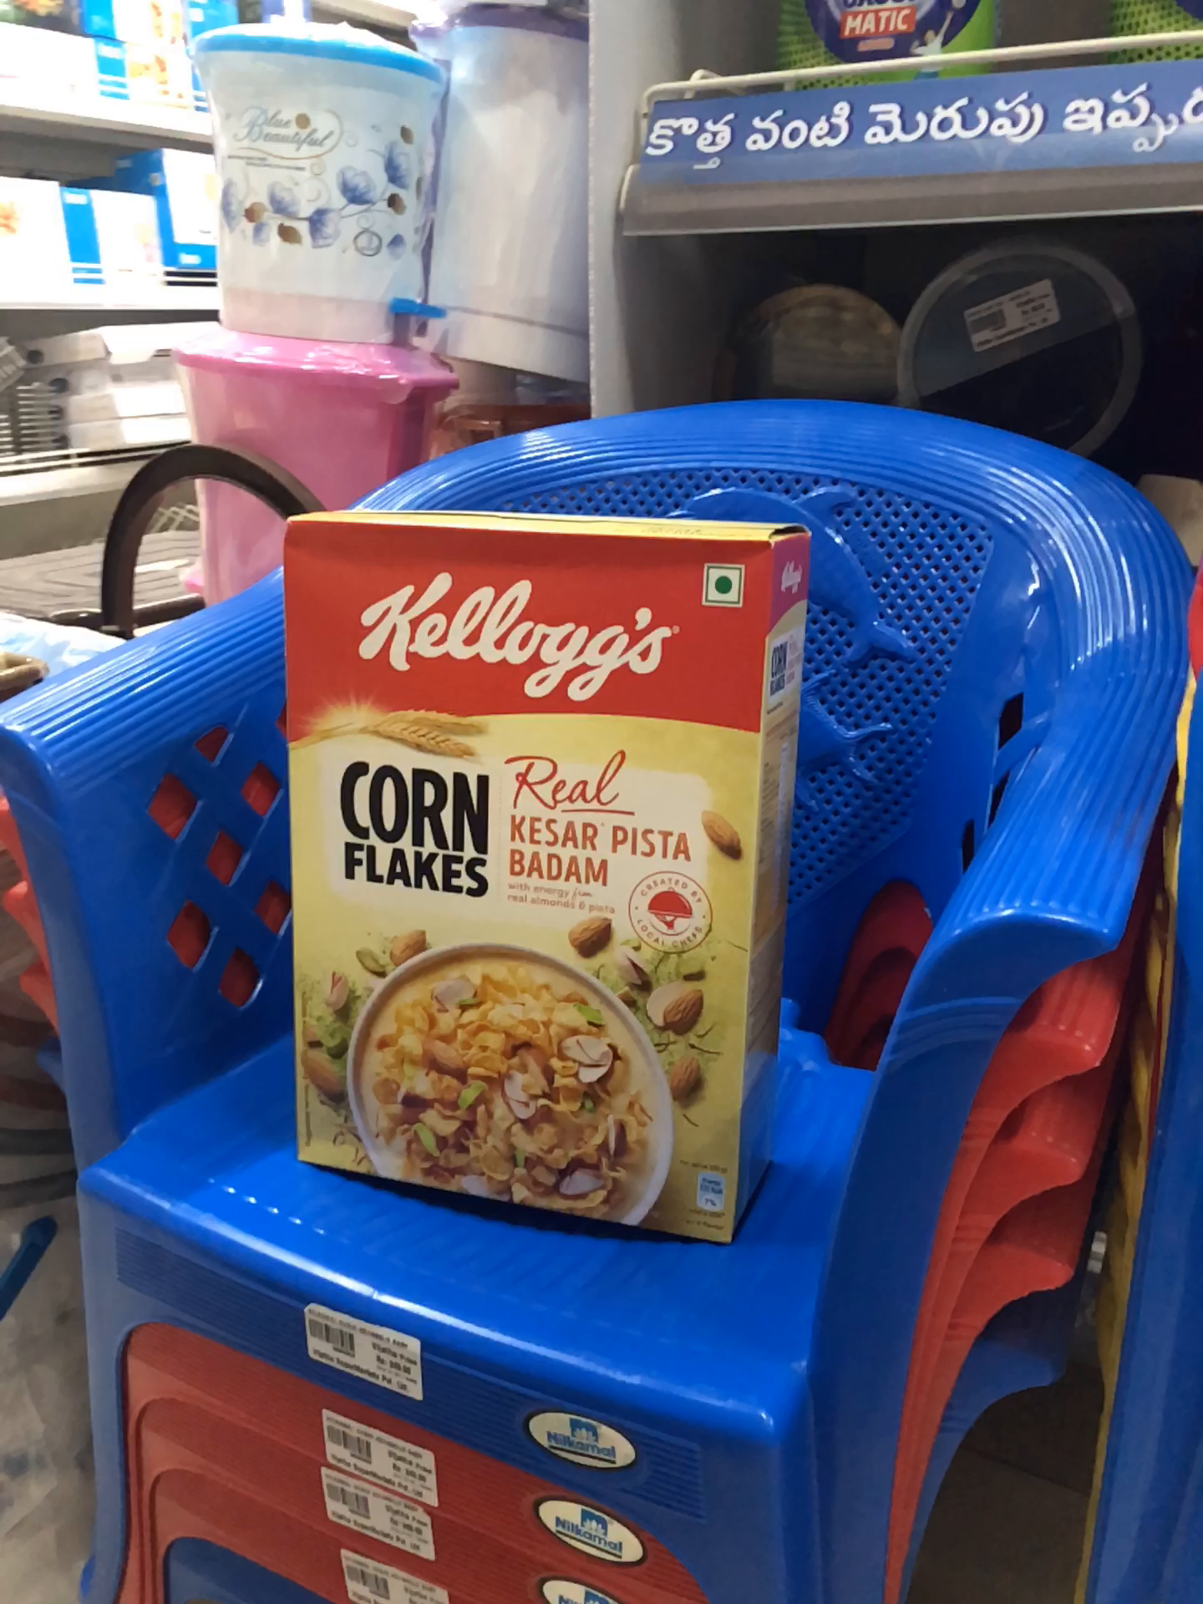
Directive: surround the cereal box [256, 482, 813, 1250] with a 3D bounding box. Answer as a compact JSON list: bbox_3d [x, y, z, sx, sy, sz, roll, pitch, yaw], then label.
[{"bbox_3d":[-0.025,0.016,0.516,0.190,0.269,0.070,5,14,17],"label":"cereal box"}]
